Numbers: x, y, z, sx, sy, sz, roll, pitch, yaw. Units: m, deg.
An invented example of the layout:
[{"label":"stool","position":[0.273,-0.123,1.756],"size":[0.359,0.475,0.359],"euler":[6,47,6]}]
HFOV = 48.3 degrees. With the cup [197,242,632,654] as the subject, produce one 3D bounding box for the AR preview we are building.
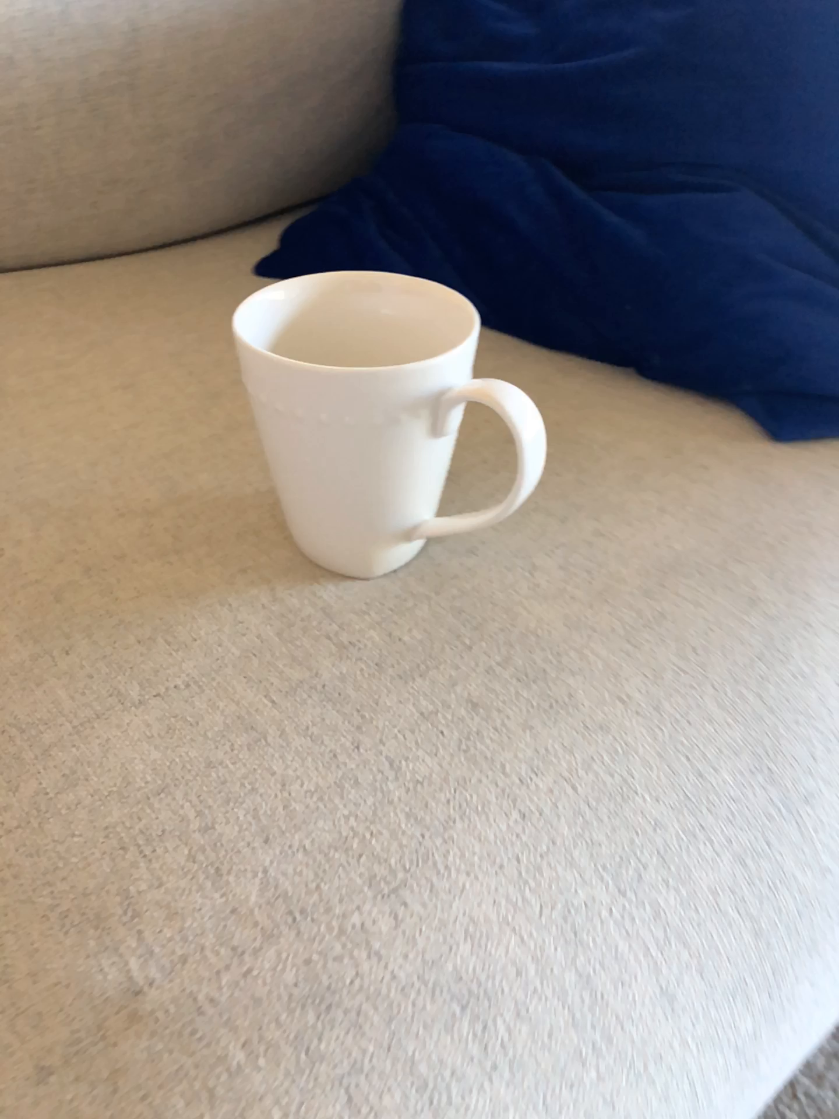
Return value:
[{"label":"cup","position":[-0.007,-0.052,0.377],"size":[0.100,0.090,0.130],"euler":[-29,51,-36]}]
